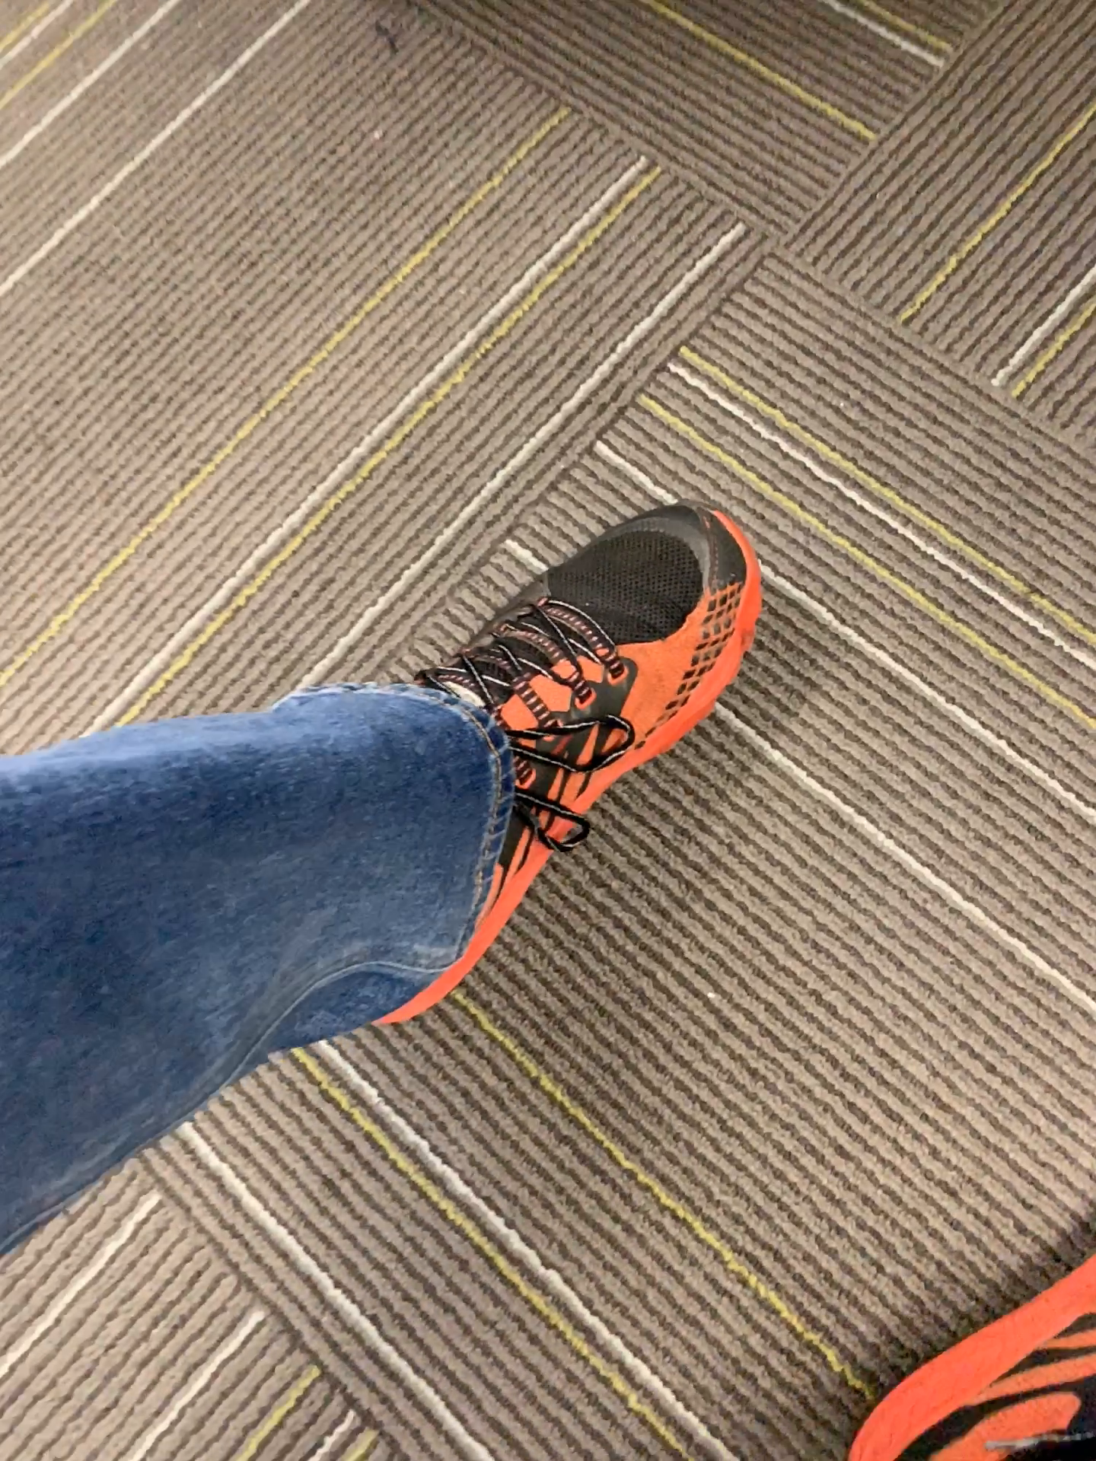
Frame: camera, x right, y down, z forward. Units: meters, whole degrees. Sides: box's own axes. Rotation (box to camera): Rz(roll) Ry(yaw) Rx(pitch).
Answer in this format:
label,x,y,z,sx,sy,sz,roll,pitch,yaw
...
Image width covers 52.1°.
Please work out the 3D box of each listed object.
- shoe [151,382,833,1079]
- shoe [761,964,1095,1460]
label,x,y,z,sx,sy,sz,roll,pitch,yaw
shoe,-0.022,-0.005,0.533,0.305,0.090,0.132,-47,55,-6
shoe,0.251,0.248,0.434,0.302,0.090,0.140,-40,86,-3
